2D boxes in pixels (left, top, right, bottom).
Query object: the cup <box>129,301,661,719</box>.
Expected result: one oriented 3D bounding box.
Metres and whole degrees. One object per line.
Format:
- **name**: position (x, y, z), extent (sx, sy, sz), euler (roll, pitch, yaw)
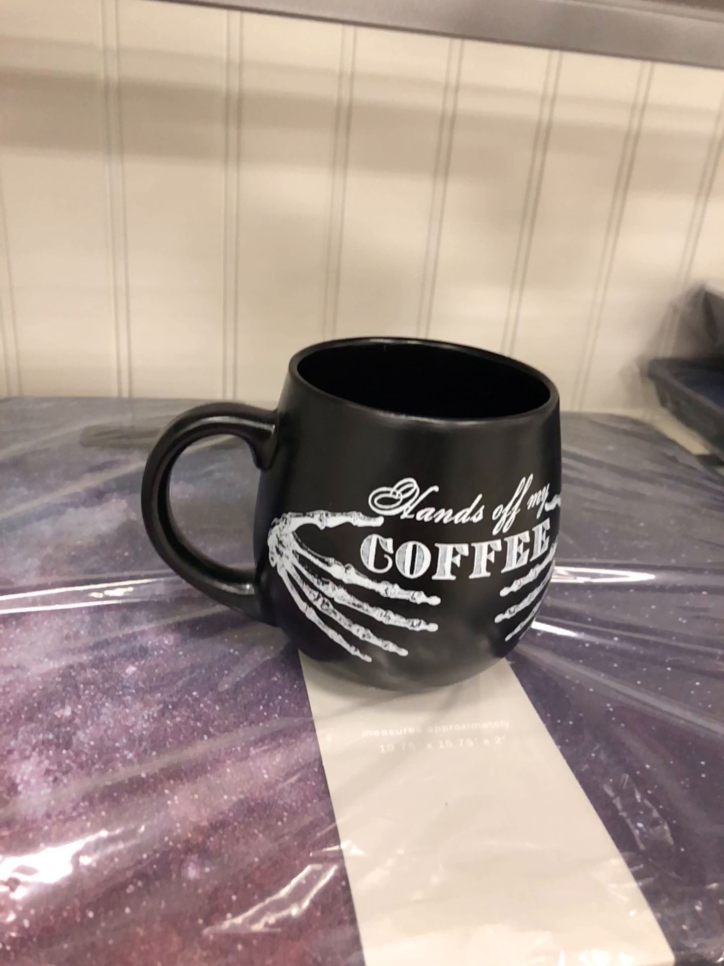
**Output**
- **cup**: position (0.004, 0.004, 0.277), extent (0.140, 0.099, 0.101), euler (3, 26, -4)
